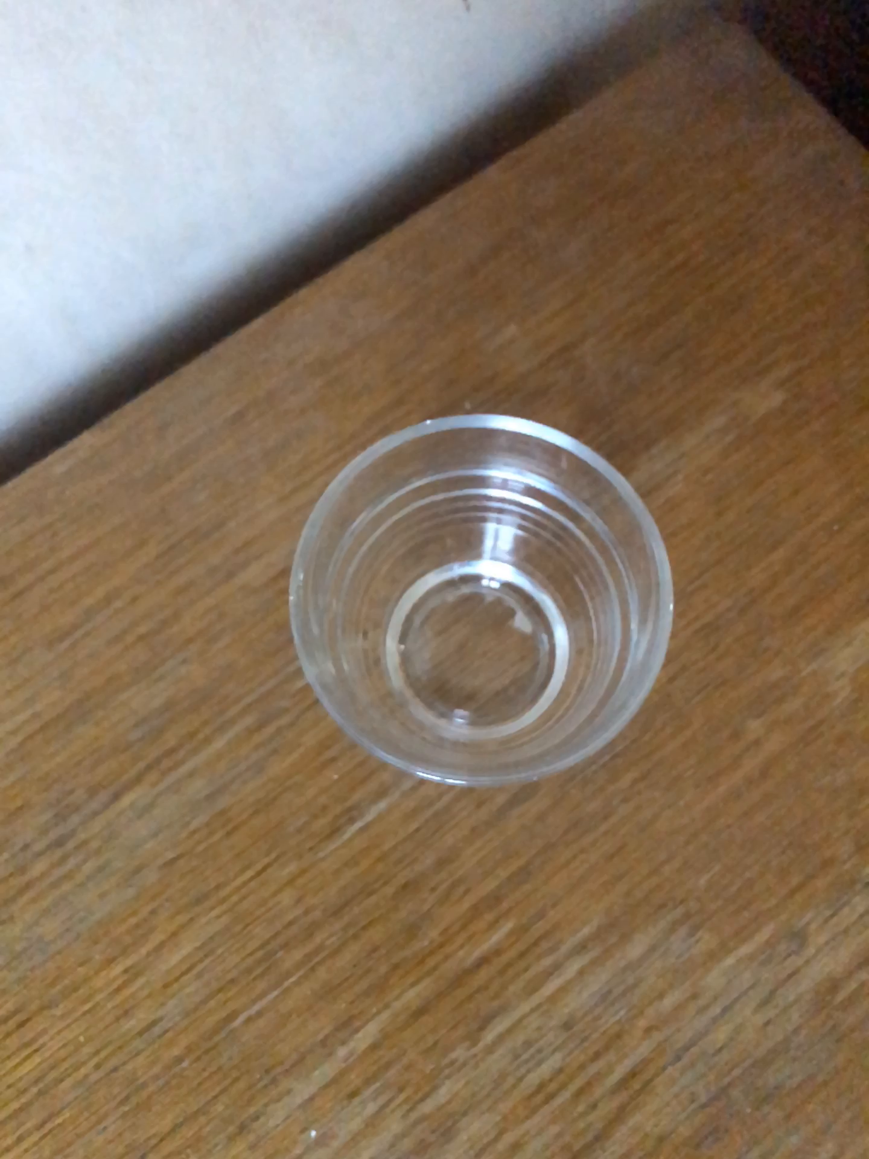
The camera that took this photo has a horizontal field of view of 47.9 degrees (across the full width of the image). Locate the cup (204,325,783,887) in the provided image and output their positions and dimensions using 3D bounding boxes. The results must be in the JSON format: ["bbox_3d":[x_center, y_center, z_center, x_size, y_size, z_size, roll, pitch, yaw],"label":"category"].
[{"bbox_3d":[0.013,0.009,0.213,0.080,0.060,0.080,0,73,1],"label":"cup"}]
